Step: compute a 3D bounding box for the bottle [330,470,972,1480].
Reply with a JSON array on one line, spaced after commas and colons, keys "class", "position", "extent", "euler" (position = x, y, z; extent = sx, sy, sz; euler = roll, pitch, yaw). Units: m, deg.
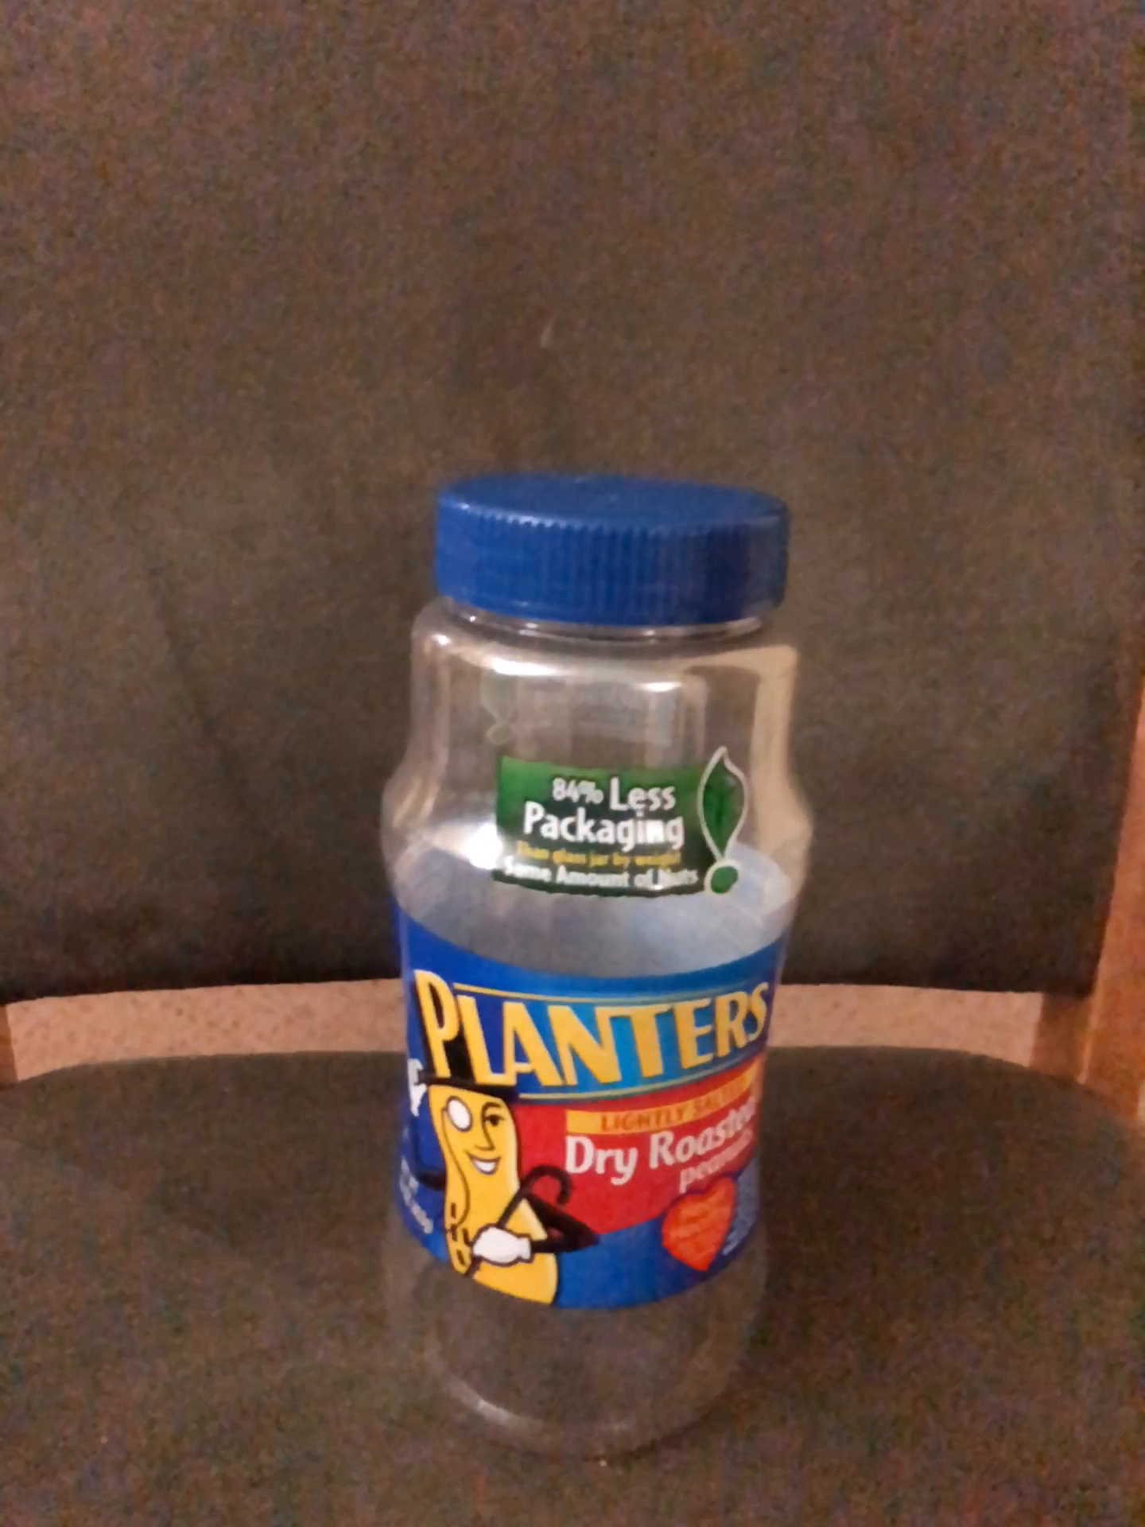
[{"class": "bottle", "position": [0.007, 0.037, 0.245], "extent": [0.090, 0.170, 0.080], "euler": [2, 20, -2]}]
